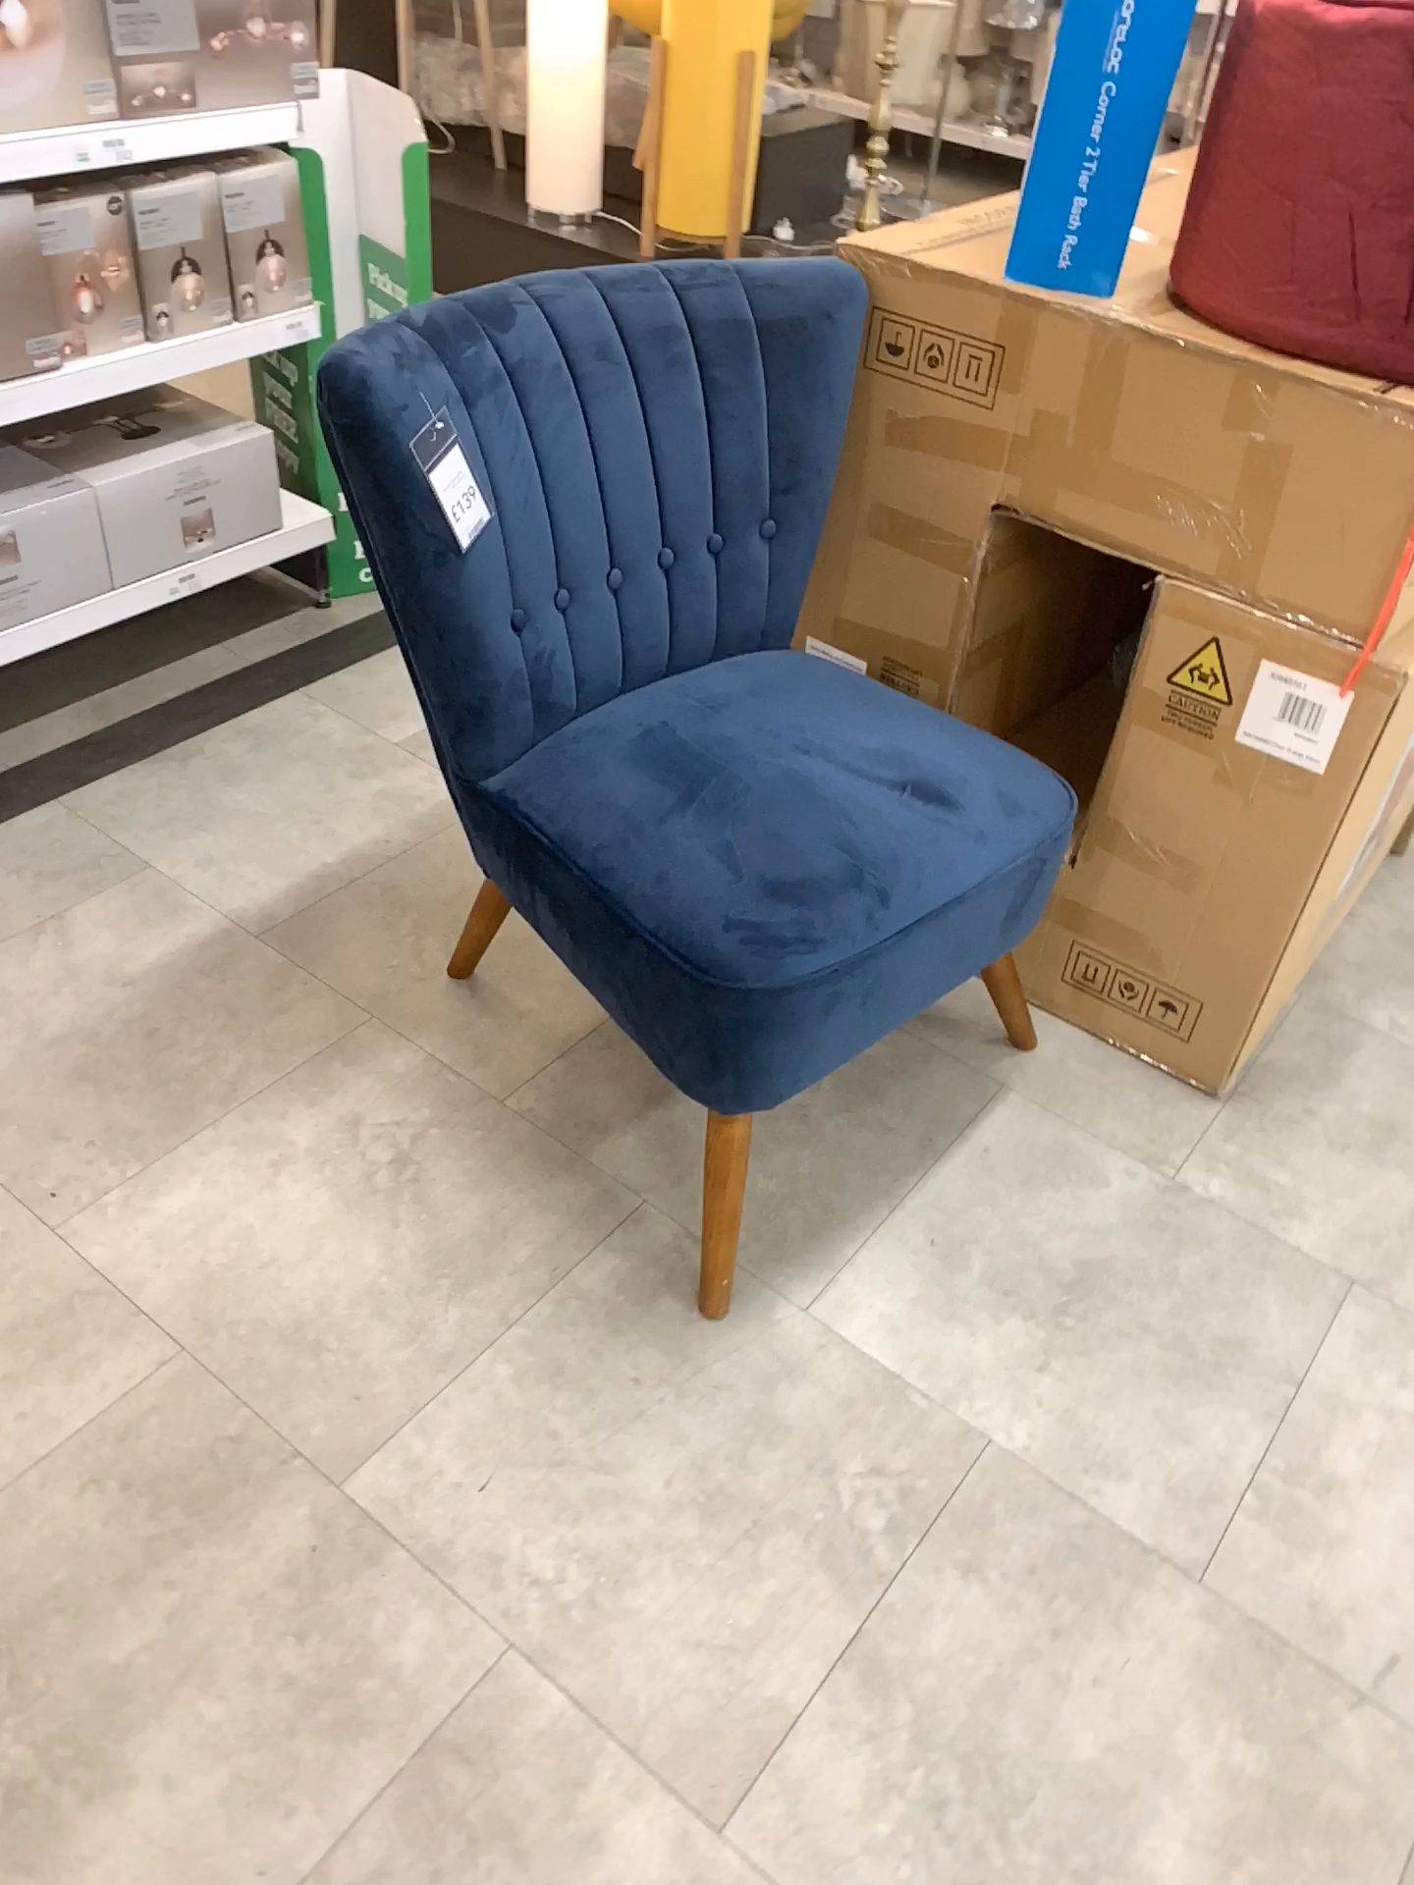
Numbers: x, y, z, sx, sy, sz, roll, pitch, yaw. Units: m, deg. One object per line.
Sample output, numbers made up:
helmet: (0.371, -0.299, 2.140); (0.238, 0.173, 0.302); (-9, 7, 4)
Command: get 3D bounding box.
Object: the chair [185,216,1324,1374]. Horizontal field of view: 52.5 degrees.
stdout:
chair: (0.024, -0.218, 1.535); (0.729, 0.790, 0.733); (34, 47, 30)
